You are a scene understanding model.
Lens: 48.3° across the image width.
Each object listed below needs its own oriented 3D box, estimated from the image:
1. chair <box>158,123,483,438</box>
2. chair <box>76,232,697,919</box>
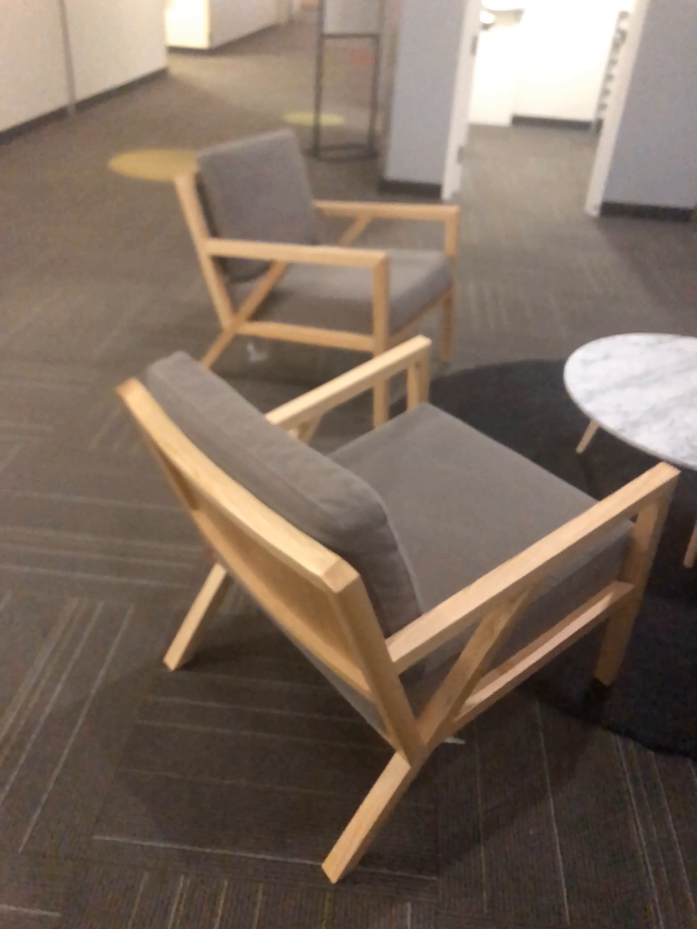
[{"bbox_3d":[-0.065,-0.684,2.700,0.800,0.773,0.726,15,35,21],"label":"chair"},{"bbox_3d":[0.114,0.119,1.516,0.875,0.753,0.722,-26,44,-30],"label":"chair"}]
